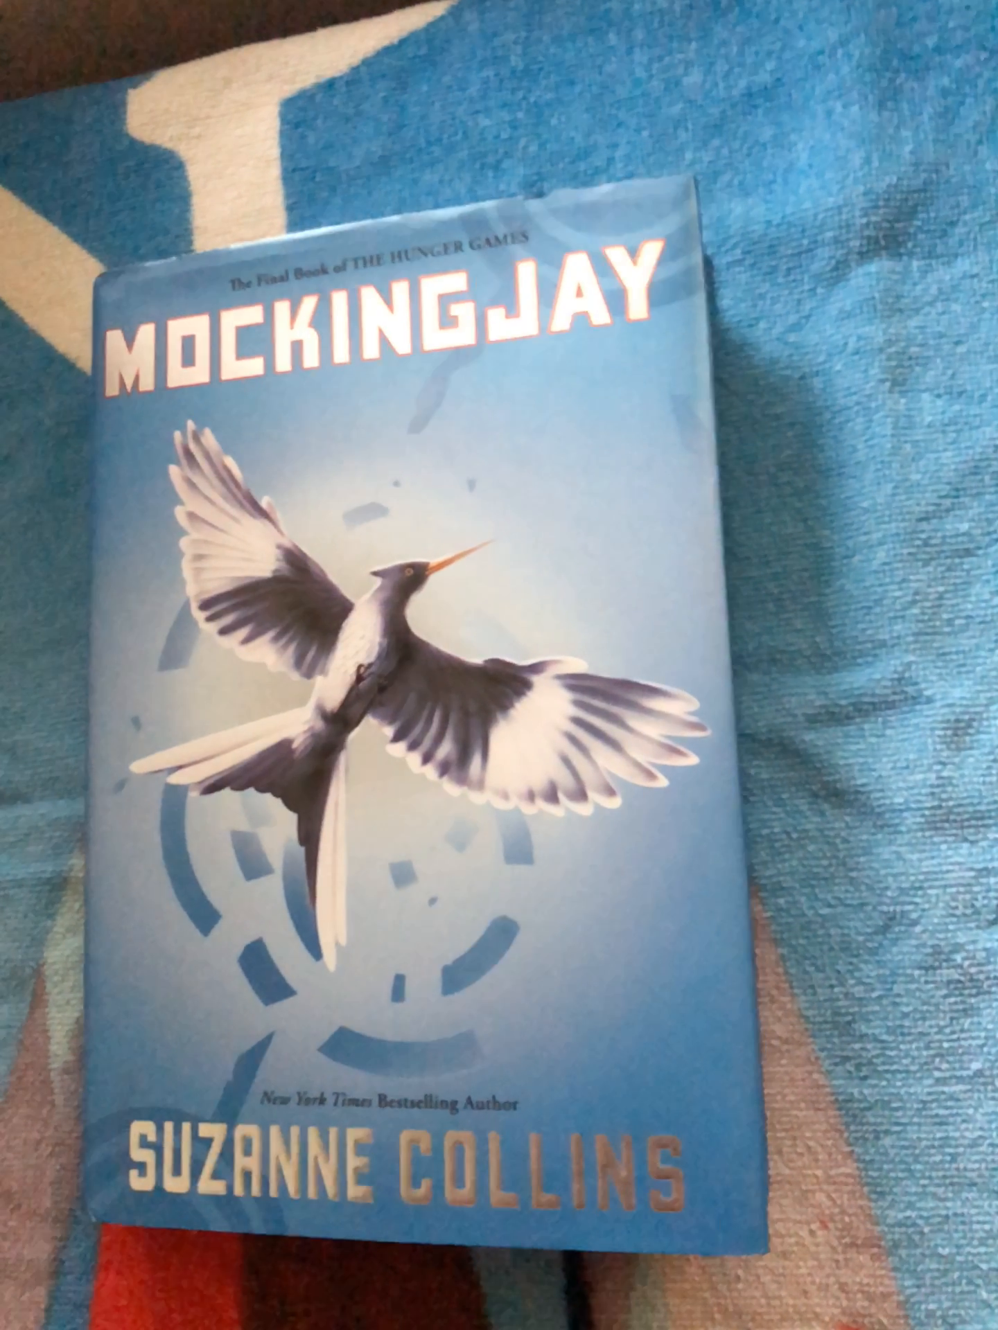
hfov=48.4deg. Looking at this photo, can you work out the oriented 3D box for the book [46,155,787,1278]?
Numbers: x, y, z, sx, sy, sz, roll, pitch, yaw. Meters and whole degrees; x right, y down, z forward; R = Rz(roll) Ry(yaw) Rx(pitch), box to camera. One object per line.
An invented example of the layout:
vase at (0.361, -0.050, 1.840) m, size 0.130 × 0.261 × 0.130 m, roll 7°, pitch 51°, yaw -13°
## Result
book at (-0.019, 0.009, 0.234) m, size 0.140 × 0.040 × 0.200 m, roll -4°, pitch 81°, yaw 15°
